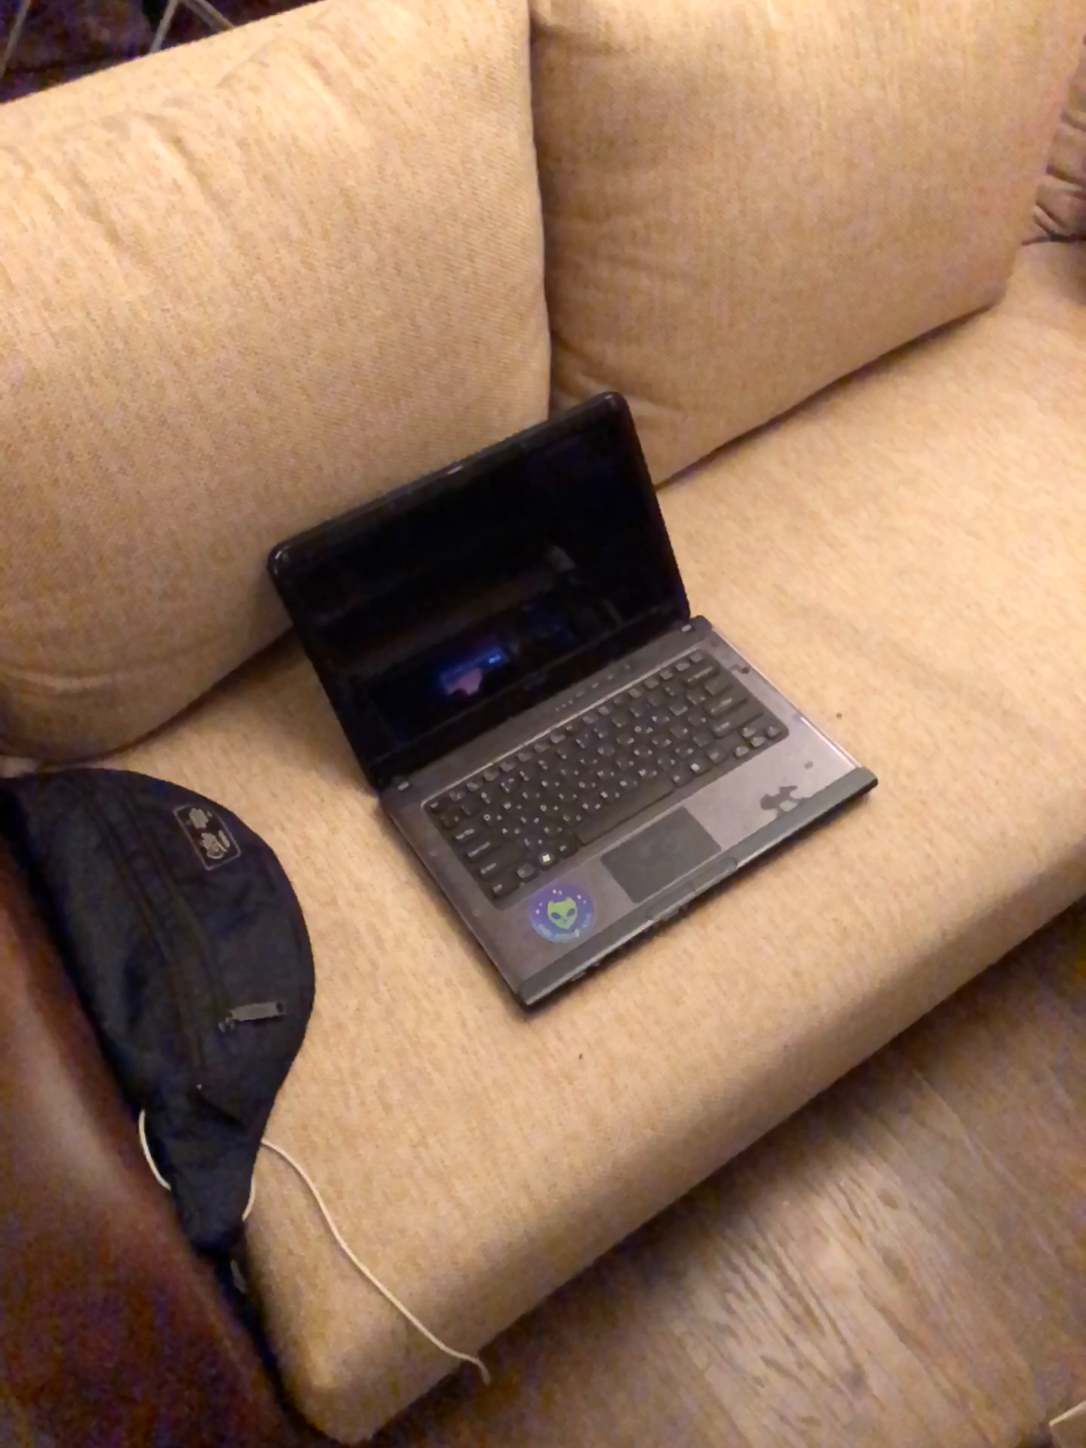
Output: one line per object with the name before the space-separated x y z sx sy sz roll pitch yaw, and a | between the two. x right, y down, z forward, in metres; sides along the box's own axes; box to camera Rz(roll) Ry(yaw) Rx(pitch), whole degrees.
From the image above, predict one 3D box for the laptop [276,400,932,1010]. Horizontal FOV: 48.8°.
laptop | 0.035 -0.034 0.946 0.338 0.174 0.350 -30 57 -19
